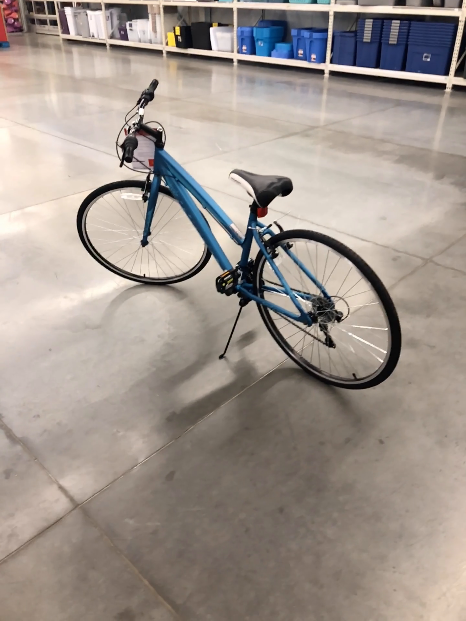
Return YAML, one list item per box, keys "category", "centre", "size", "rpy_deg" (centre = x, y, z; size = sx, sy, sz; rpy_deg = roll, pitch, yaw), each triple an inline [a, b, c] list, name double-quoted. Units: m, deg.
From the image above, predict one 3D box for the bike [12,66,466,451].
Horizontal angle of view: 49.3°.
- category: "bike"
  centre: [-0.065, -0.343, 2.060]
  size: [1.609, 0.978, 0.579]
  rpy_deg: [23, 38, 30]
